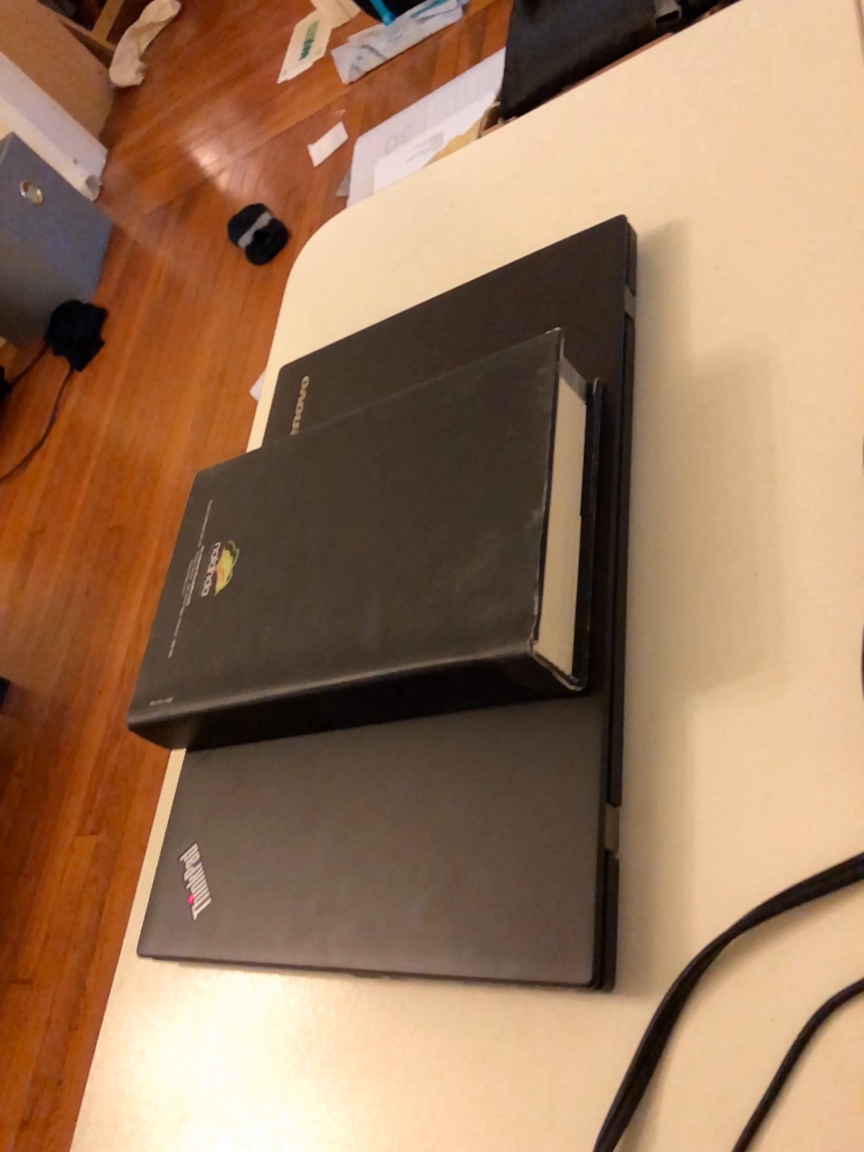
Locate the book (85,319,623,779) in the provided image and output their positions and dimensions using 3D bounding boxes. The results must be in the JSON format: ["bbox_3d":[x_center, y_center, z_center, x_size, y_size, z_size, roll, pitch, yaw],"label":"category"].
[{"bbox_3d":[-0.037,-0.001,0.399,0.230,0.040,0.150,-12,56,34],"label":"book"}]
